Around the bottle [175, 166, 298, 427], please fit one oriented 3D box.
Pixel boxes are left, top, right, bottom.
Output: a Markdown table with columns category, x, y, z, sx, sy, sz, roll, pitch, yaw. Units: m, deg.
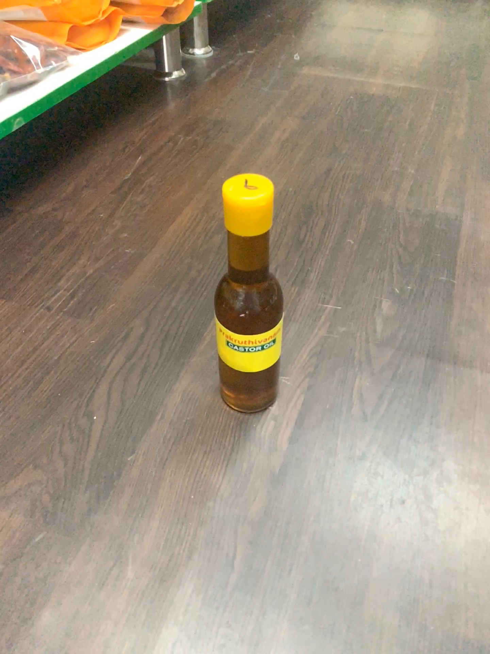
| category | x | y | z | sx | sy | sz | roll | pitch | yaw |
| --- | --- | --- | --- | --- | --- | --- | --- | --- | --- |
| bottle | -0.004 | -0.010 | 0.326 | 0.060 | 0.169 | 0.060 | 0 | 44 | 0 |
